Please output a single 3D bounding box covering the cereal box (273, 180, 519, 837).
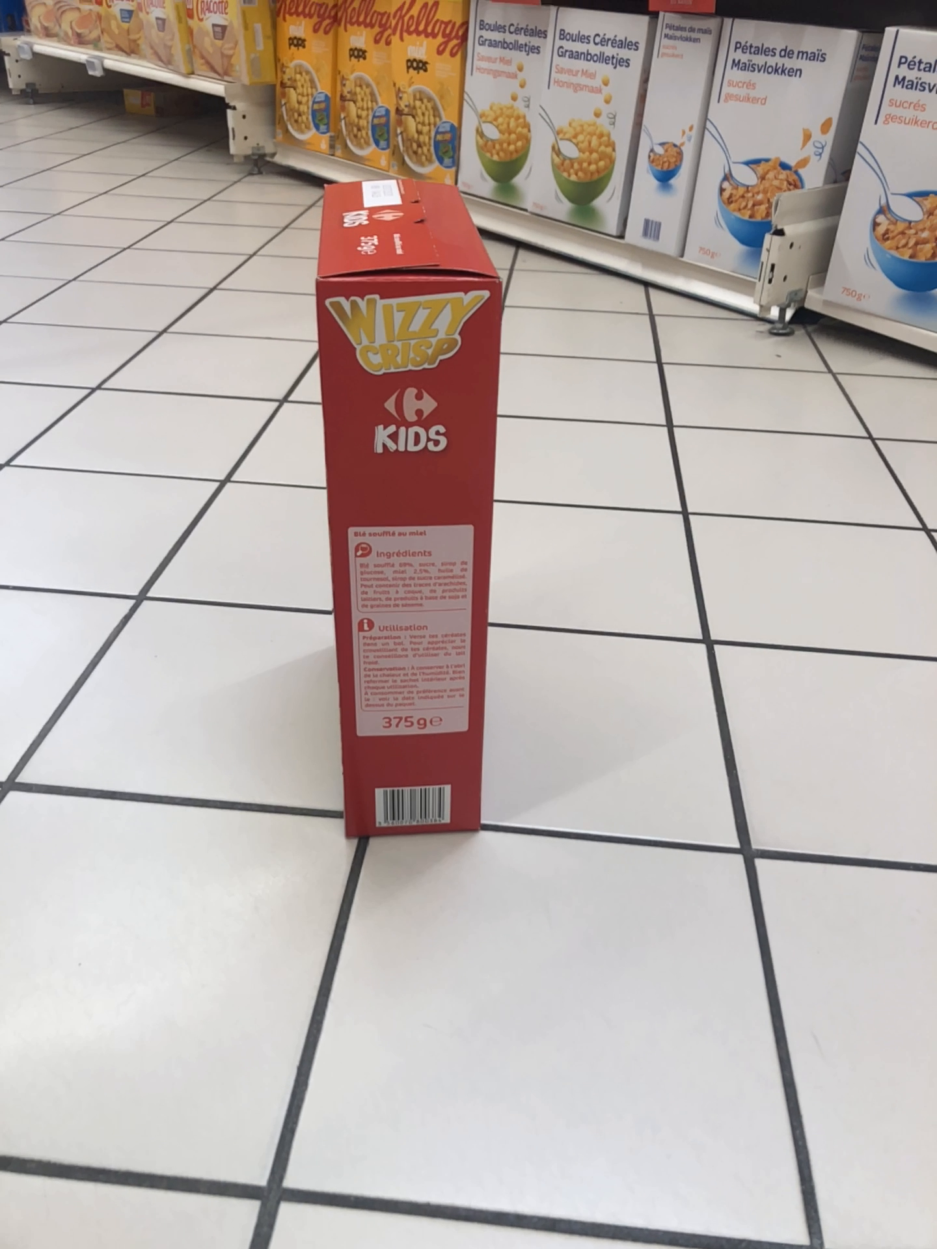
[{"bbox_3d":[-0.039,-0.063,0.531,0.090,0.278,0.191,-2,32,-6],"label":"cereal box"}]
